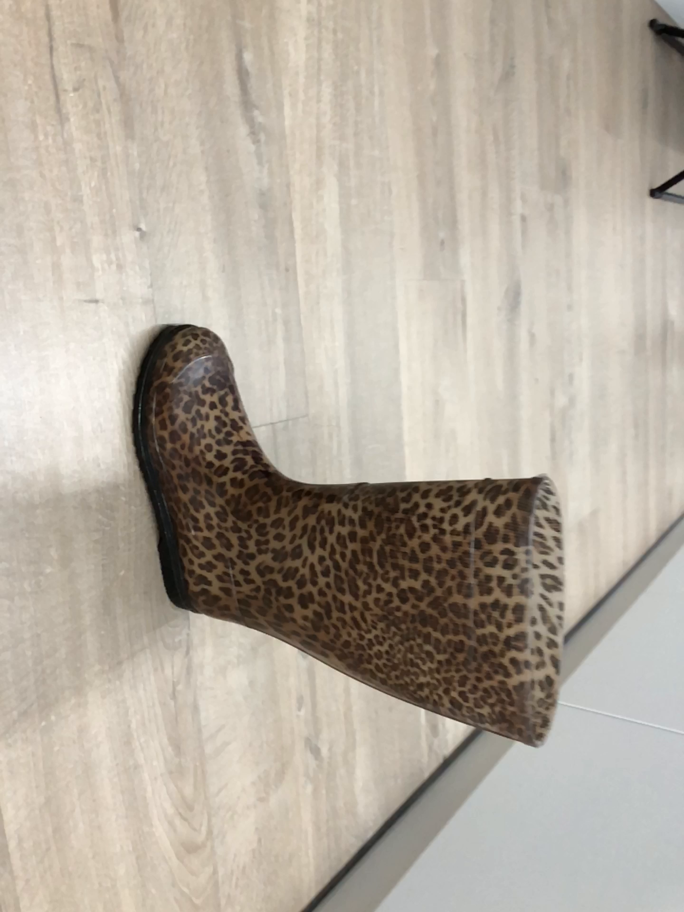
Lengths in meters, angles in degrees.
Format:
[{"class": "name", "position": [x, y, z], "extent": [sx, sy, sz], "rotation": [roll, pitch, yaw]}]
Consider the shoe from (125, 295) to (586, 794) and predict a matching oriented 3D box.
[{"class": "shoe", "position": [-0.008, 0.041, 0.548], "extent": [0.091, 0.338, 0.280], "rotation": [-9, 100, -54]}]
